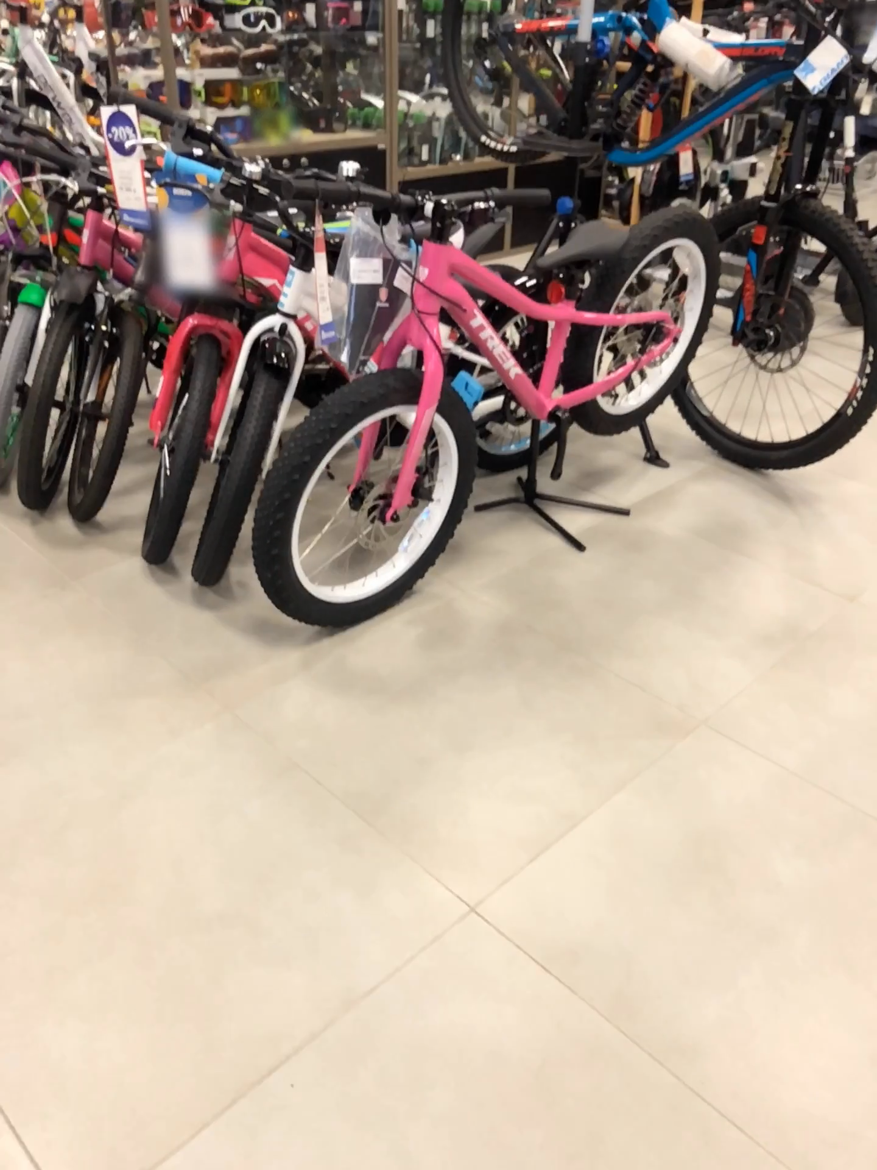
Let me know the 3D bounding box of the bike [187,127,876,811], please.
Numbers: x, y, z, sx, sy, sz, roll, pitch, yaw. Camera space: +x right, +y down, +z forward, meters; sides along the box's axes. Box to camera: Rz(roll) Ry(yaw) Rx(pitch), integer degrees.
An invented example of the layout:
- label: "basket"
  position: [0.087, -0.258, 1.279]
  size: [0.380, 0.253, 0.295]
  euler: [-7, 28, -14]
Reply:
- label: "bike"
  position: [0.226, -0.364, 1.930]
  size: [1.339, 0.668, 0.572]
  euler: [-32, 44, -33]
